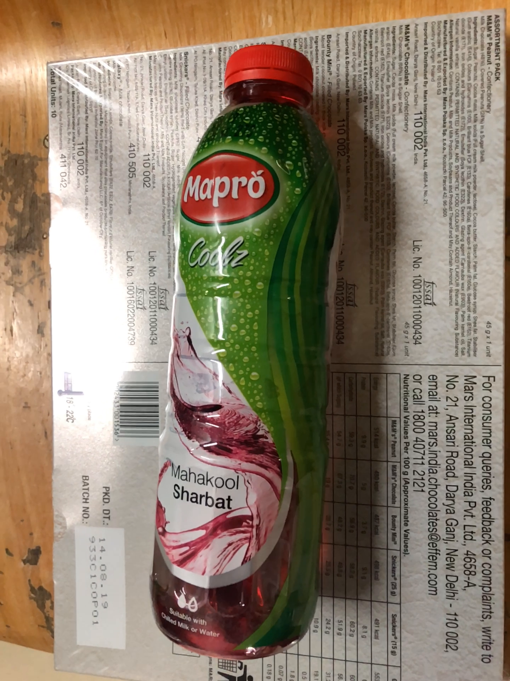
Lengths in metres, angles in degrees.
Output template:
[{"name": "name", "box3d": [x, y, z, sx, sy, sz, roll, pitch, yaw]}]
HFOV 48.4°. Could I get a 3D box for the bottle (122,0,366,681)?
[{"name": "bottle", "box3d": [-0.005, 0.004, 0.264, 0.080, 0.060, 0.280, 5, 94, 26]}]
